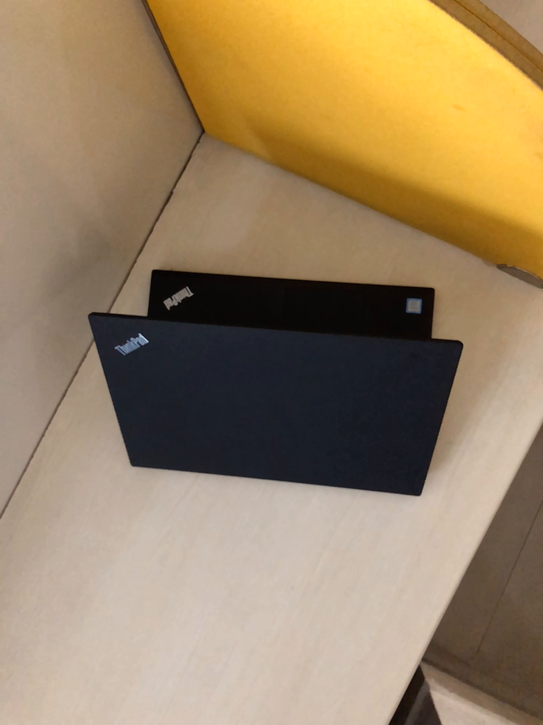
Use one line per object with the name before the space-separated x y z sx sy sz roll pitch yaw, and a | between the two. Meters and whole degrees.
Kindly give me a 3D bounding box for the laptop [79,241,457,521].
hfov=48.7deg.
laptop | 0.005 0.014 0.658 0.349 0.167 0.240 4 82 7
